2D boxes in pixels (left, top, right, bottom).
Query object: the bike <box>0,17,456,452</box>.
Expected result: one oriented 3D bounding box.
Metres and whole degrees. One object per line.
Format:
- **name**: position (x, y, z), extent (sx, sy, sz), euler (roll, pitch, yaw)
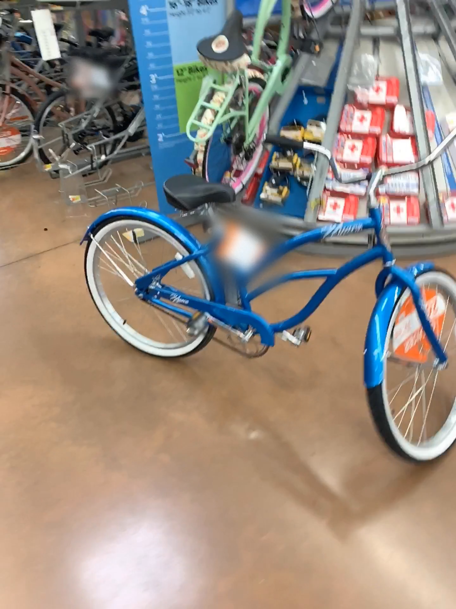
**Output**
- **bike**: position (0.134, -0.306, 1.736), extent (1.528, 1.208, 0.877), euler (9, 38, 13)
